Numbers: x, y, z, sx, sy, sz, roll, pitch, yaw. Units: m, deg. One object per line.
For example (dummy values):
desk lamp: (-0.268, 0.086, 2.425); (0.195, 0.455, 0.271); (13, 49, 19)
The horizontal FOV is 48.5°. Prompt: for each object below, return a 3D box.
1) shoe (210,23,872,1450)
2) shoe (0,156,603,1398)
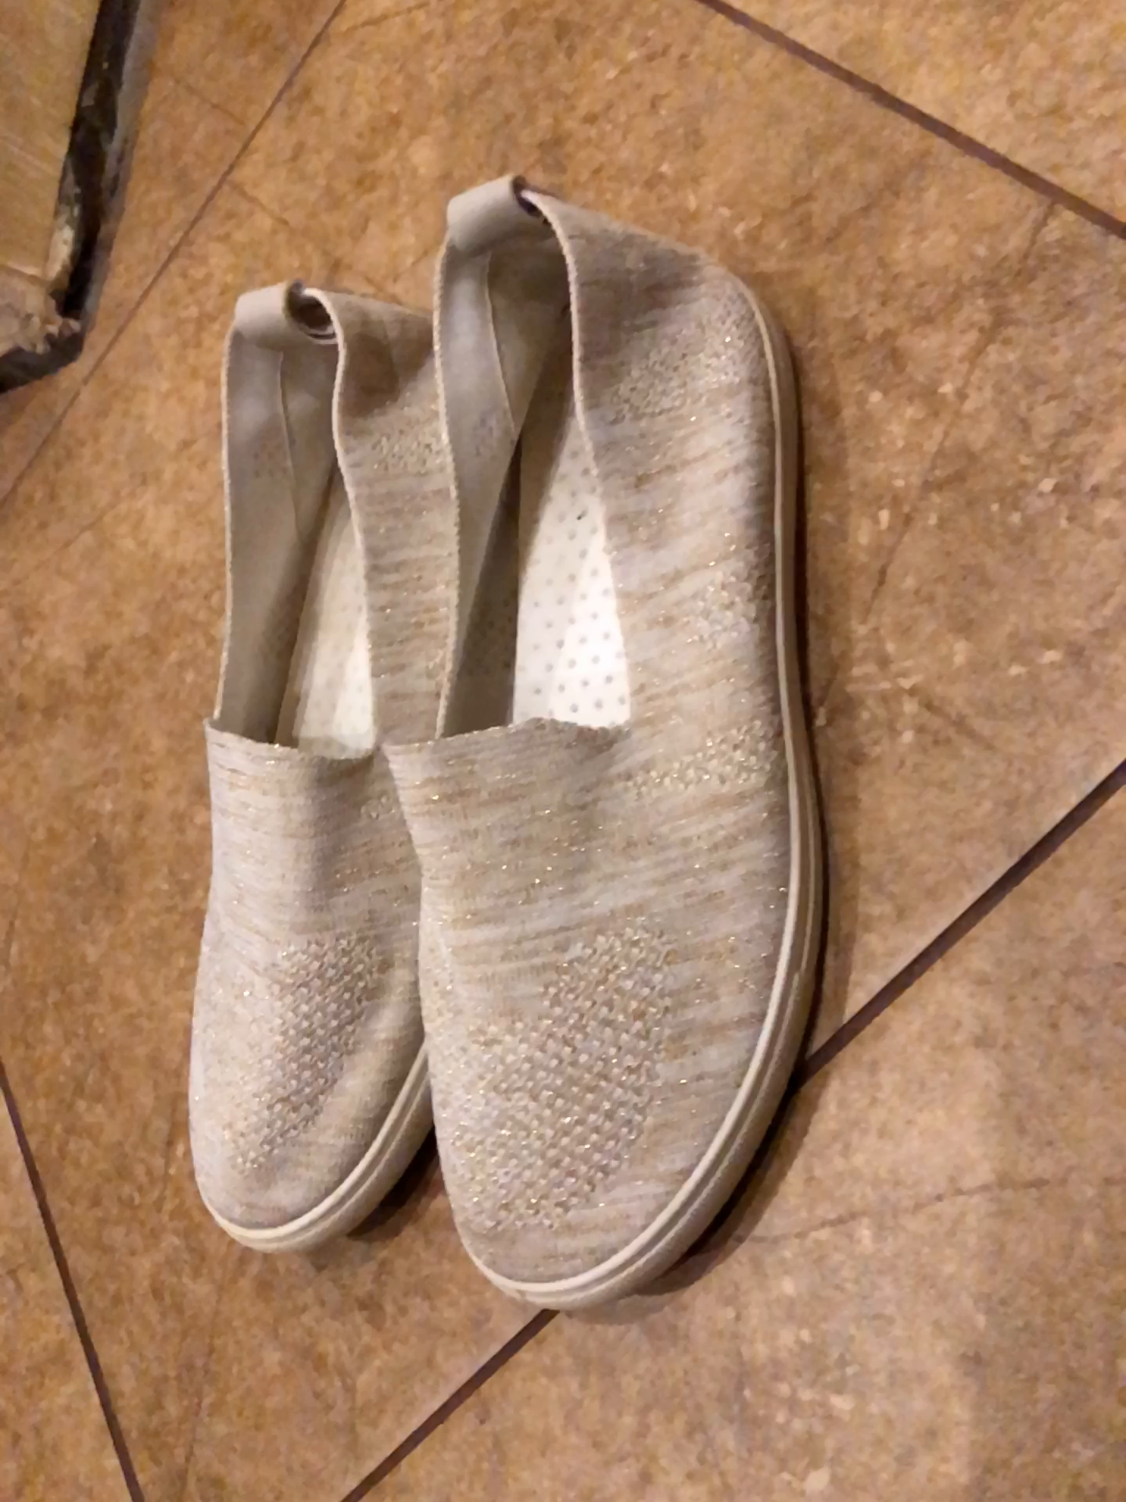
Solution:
shoe: (0.004, -0.007, 0.281); (0.100, 0.080, 0.260); (-5, 73, 35)
shoe: (-0.071, 0.002, 0.304); (0.090, 0.080, 0.250); (4, 79, 37)
